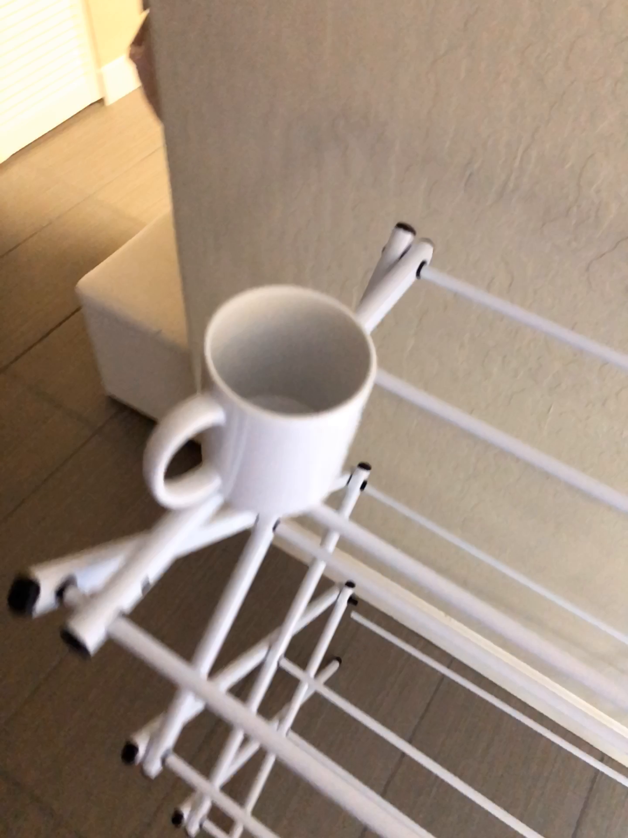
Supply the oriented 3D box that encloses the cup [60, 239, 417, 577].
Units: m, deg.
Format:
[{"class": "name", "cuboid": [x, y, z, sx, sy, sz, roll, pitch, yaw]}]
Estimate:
[{"class": "cup", "cuboid": [-0.038, -0.008, 0.344, 0.130, 0.090, 0.090, -26, 64, -26]}]
